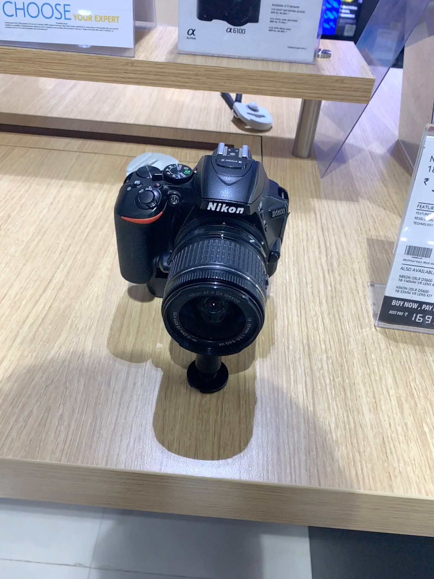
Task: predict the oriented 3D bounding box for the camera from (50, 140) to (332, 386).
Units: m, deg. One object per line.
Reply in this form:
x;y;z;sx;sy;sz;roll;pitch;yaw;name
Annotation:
-0.011;-0.020;0.264;0.124;0.080;0.114;6;41;0;camera
